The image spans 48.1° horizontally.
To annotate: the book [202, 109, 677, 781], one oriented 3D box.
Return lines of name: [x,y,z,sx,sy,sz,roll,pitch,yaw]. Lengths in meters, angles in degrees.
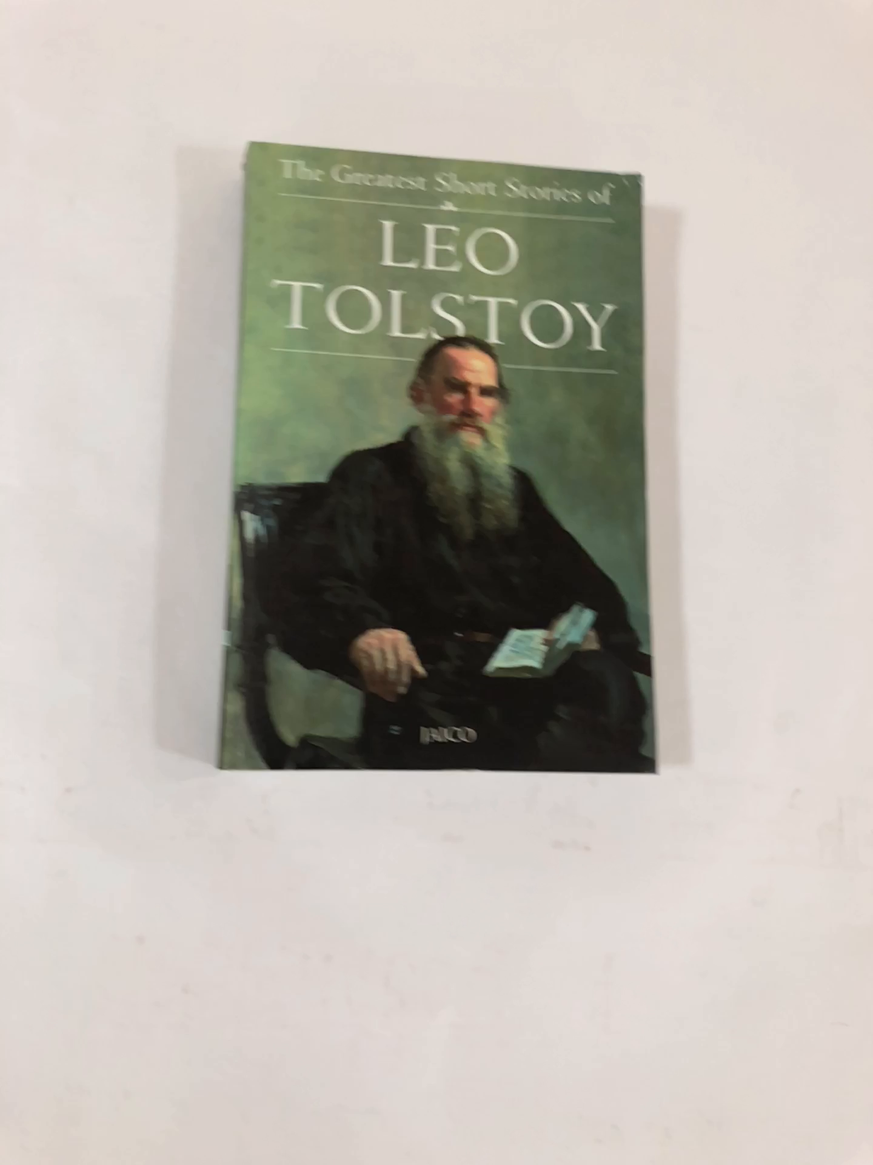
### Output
book: [0.001,-0.049,0.339,0.150,0.020,0.230,1,78,-8]
